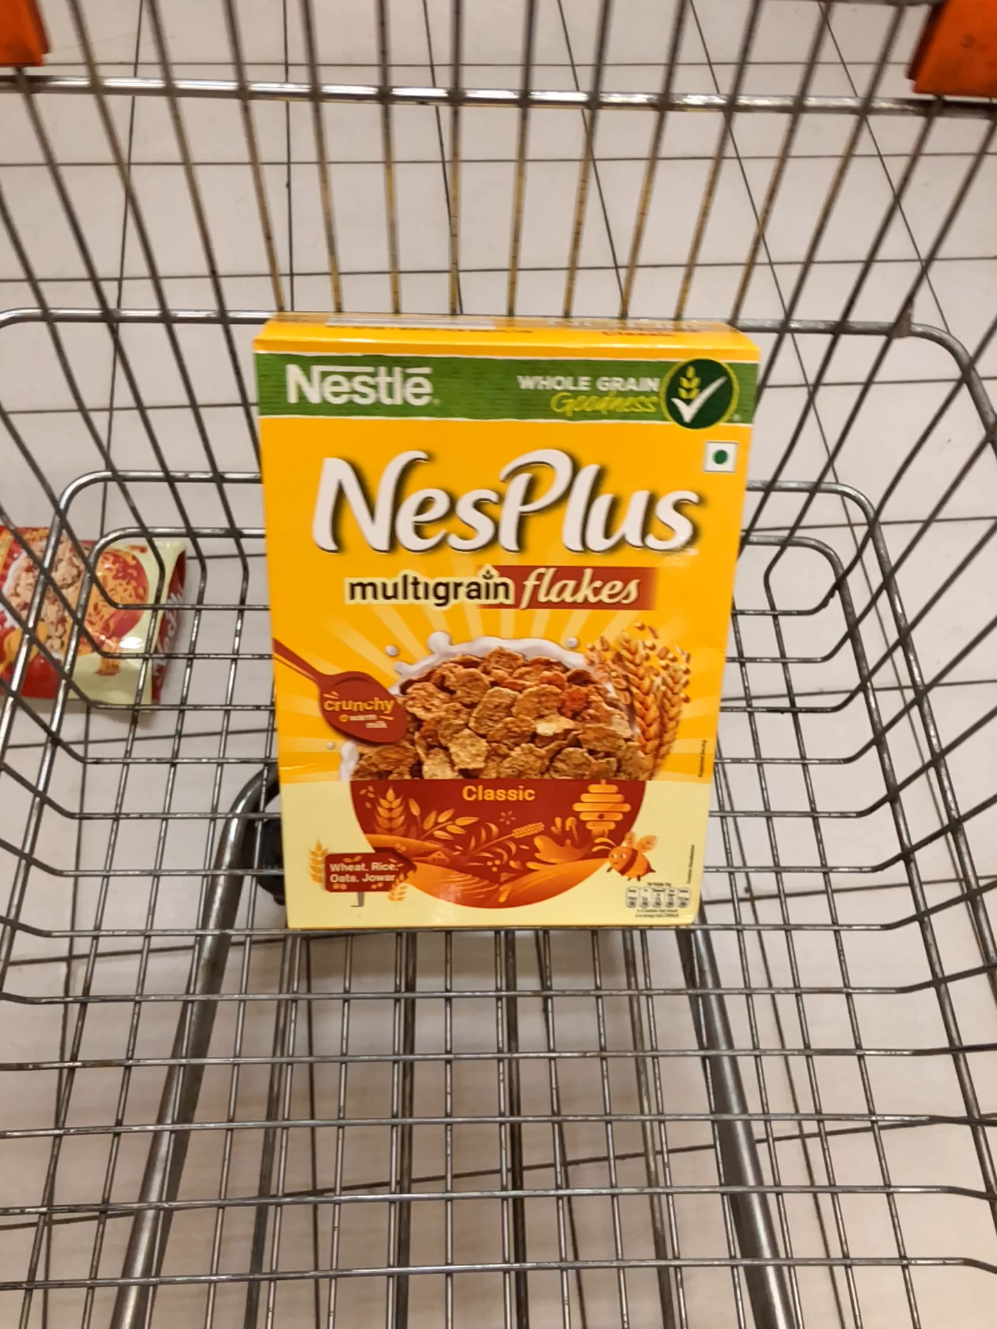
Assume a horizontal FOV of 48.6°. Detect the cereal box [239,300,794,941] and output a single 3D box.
[{"bbox_3d":[0.001,-0.017,0.464,0.190,0.249,0.090,0,21,-4],"label":"cereal box"}]
